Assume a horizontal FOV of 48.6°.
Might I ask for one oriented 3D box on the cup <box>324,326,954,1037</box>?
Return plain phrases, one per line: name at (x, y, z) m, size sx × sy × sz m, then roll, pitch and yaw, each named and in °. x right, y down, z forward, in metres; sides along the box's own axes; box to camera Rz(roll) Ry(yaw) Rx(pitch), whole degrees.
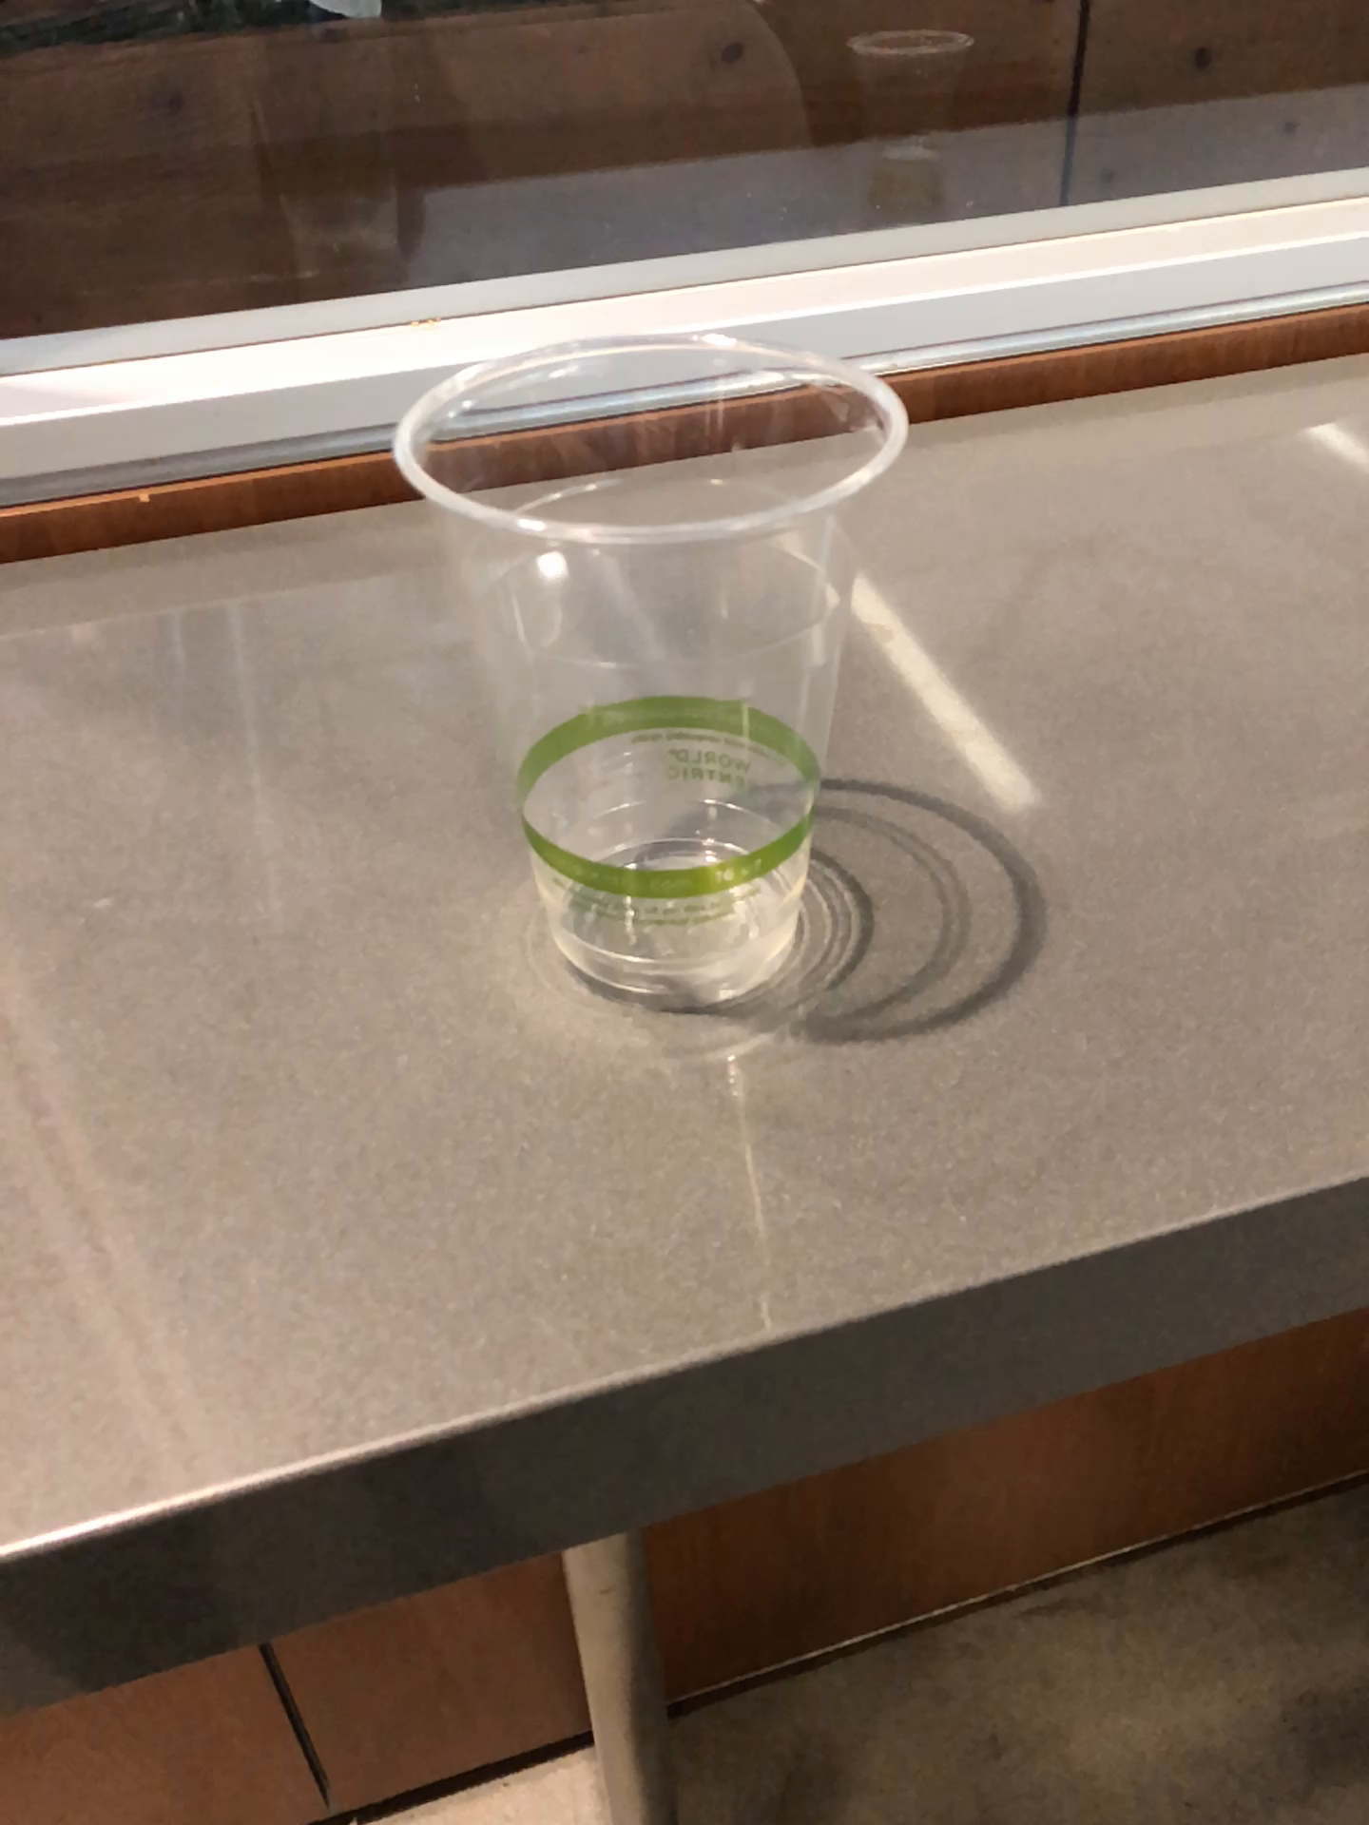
cup at (-0.001, -0.054, 0.329) m, size 0.100 × 0.109 × 0.100 m, roll -2°, pitch 38°, yaw 2°
